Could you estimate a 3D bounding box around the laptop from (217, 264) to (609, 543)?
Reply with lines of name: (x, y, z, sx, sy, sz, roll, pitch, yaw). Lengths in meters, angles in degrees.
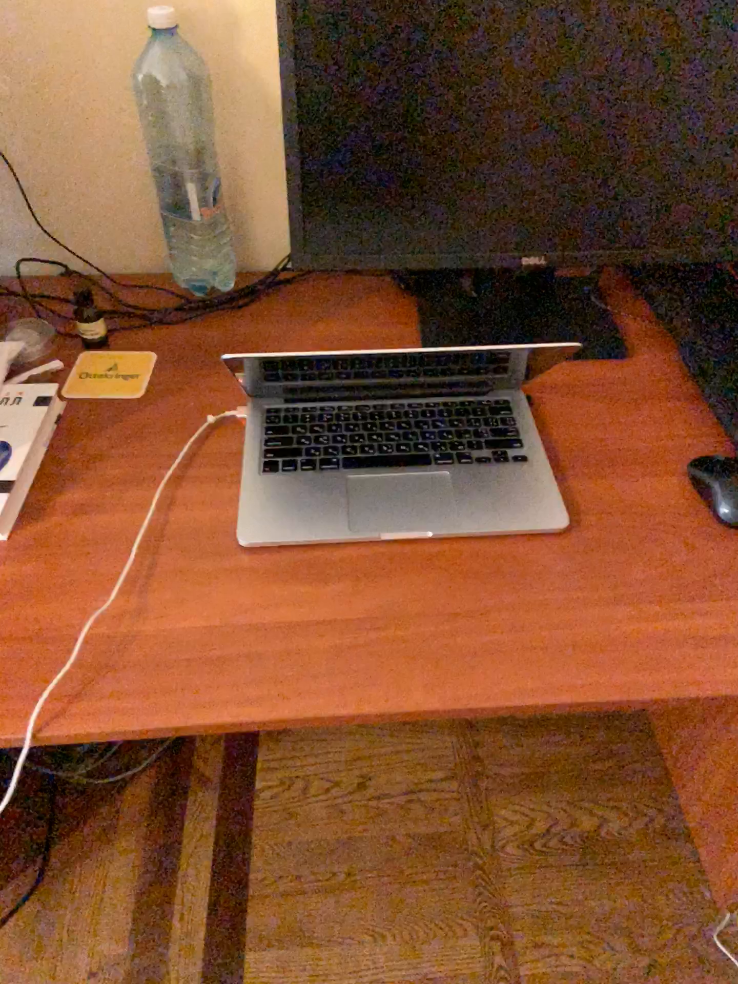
laptop: (0.030, -0.089, 0.698, 0.302, 0.150, 0.208, -3, 44, -4)
